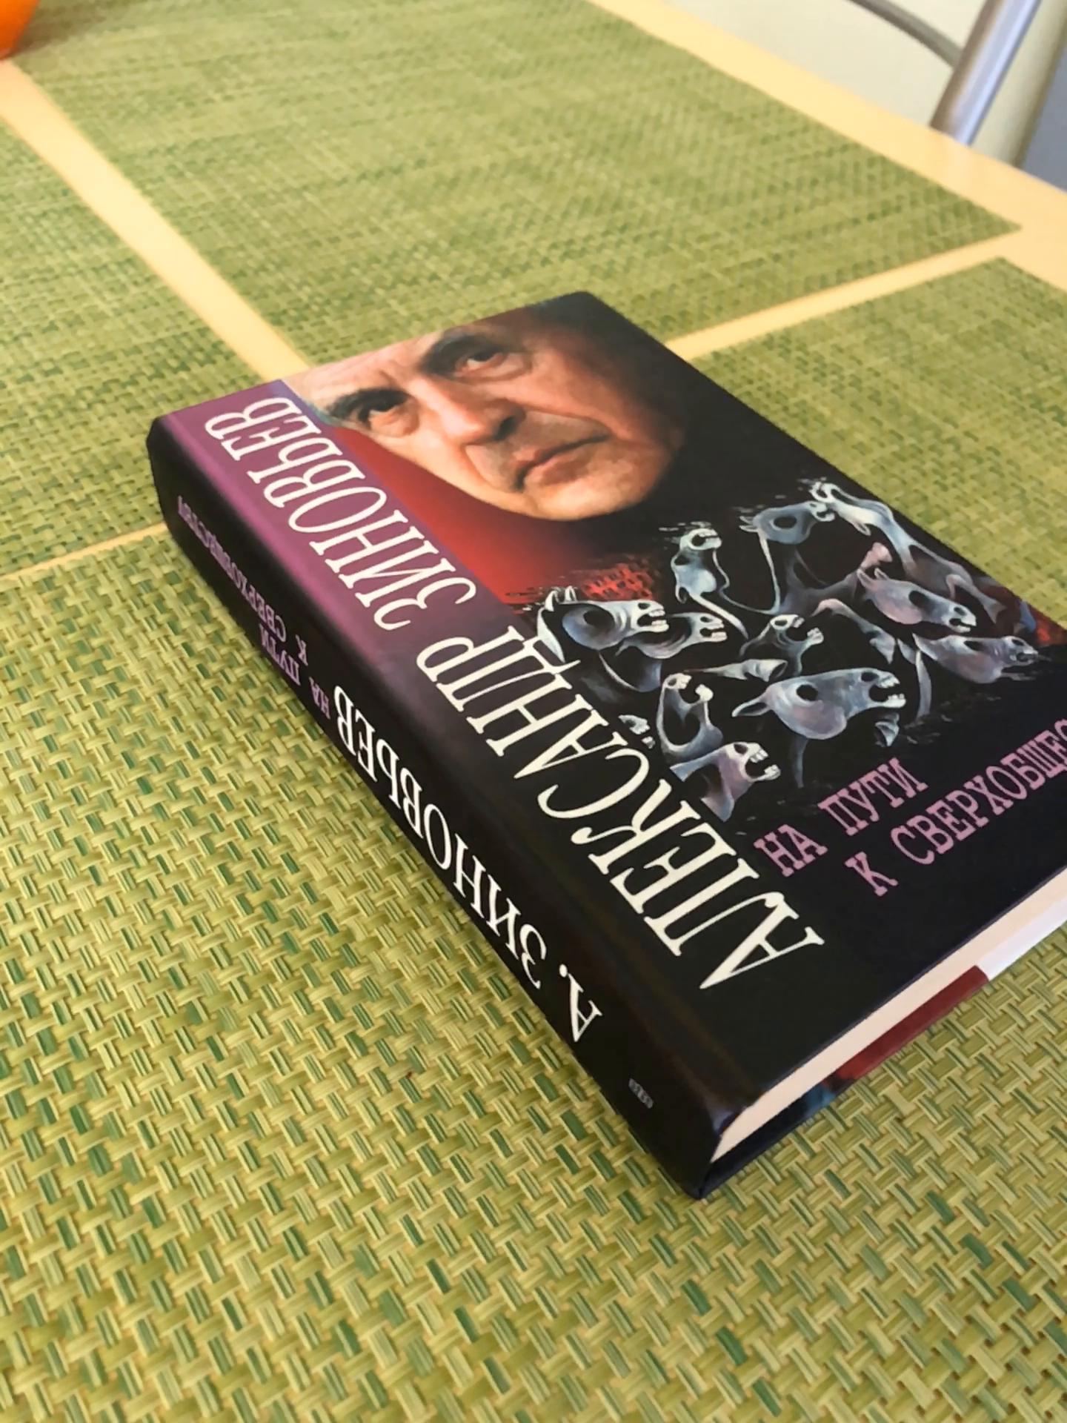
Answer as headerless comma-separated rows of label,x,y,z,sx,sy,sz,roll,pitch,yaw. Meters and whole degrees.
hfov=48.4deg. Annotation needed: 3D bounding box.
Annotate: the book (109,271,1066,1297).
book,0.026,-0.016,0.252,0.150,0.040,0.201,-25,54,-27
